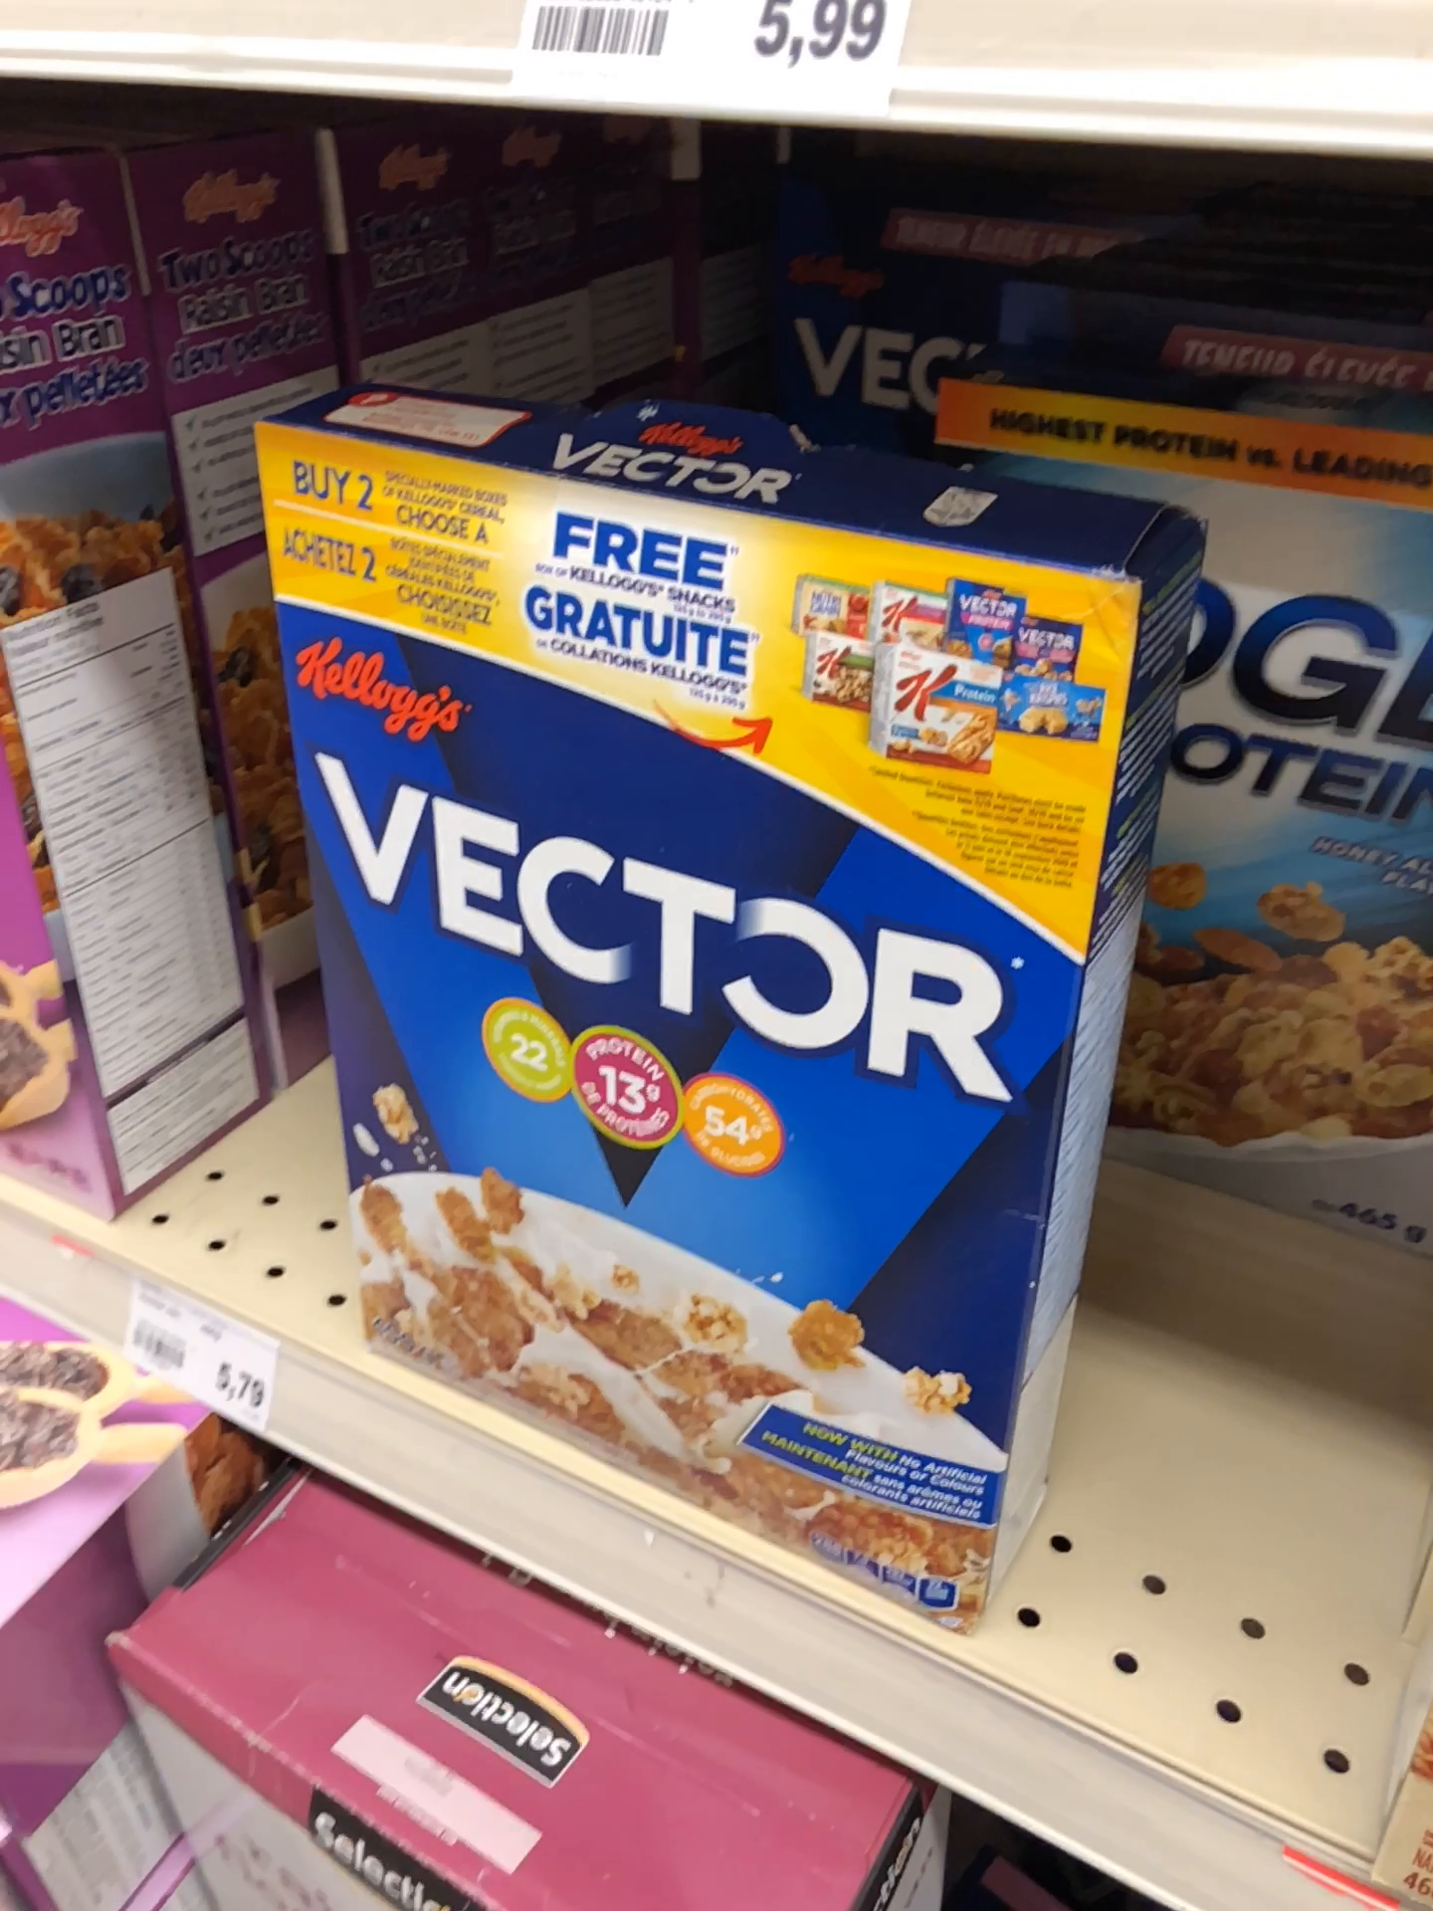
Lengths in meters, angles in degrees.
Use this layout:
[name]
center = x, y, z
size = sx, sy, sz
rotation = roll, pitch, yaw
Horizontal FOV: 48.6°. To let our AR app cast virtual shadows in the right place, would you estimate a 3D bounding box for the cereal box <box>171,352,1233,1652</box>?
[cereal box]
center = -0.009, 0.015, 0.376
size = 0.200, 0.268, 0.060
rotation = 17, 36, 25
